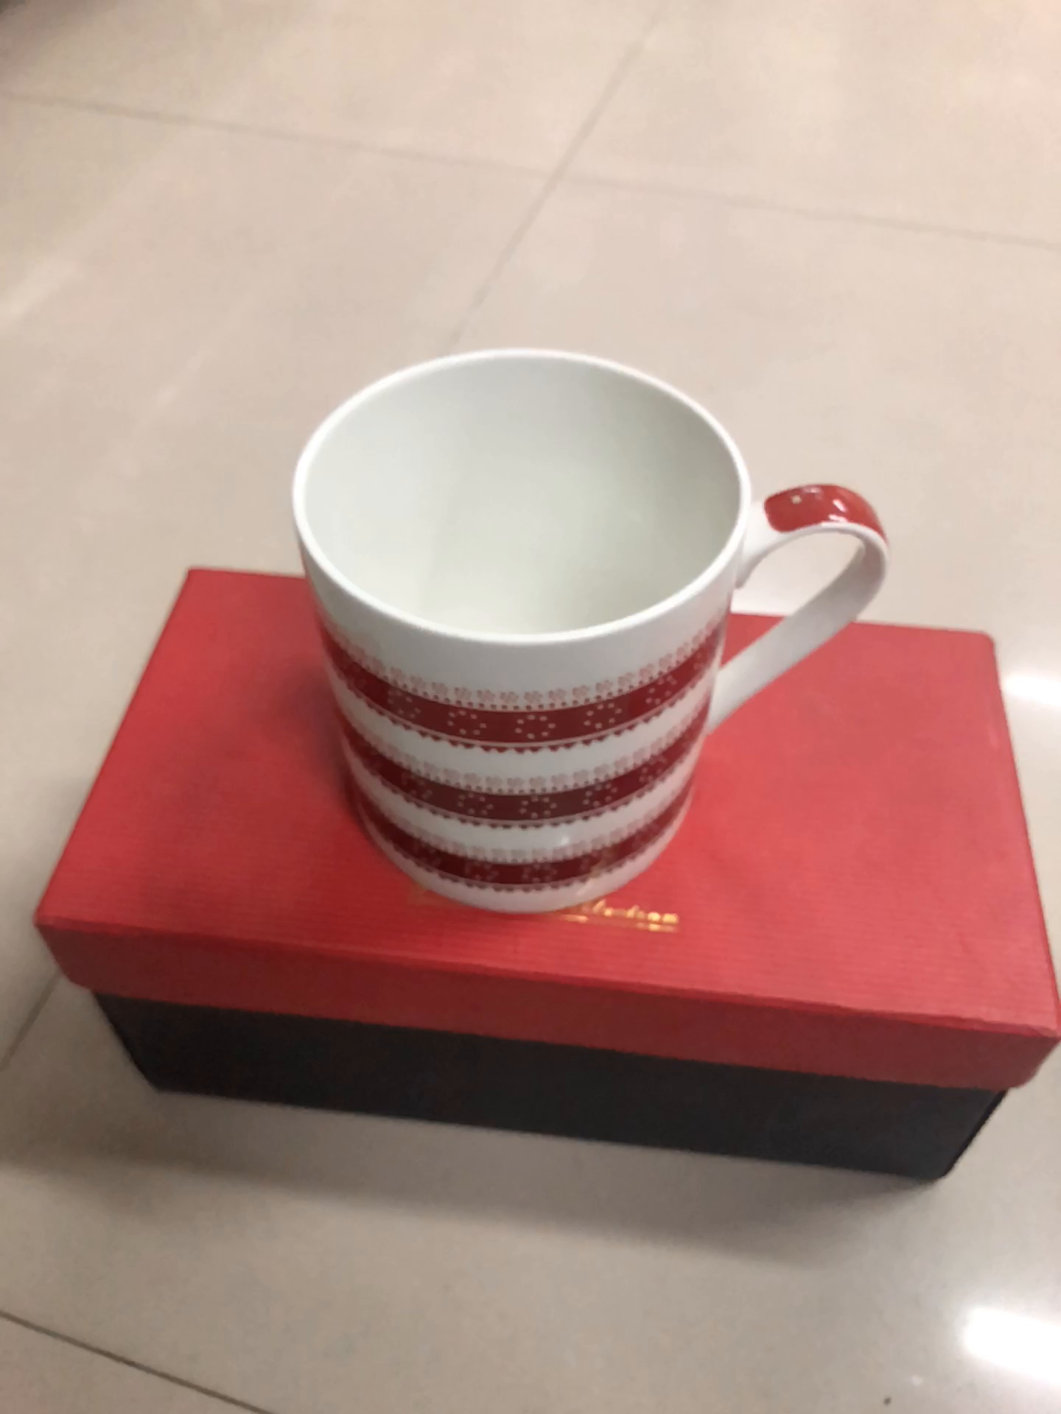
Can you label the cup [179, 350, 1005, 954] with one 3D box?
[{"bbox_3d":[0.010,-0.009,0.253,0.130,0.099,0.080,0,49,0],"label":"cup"}]
